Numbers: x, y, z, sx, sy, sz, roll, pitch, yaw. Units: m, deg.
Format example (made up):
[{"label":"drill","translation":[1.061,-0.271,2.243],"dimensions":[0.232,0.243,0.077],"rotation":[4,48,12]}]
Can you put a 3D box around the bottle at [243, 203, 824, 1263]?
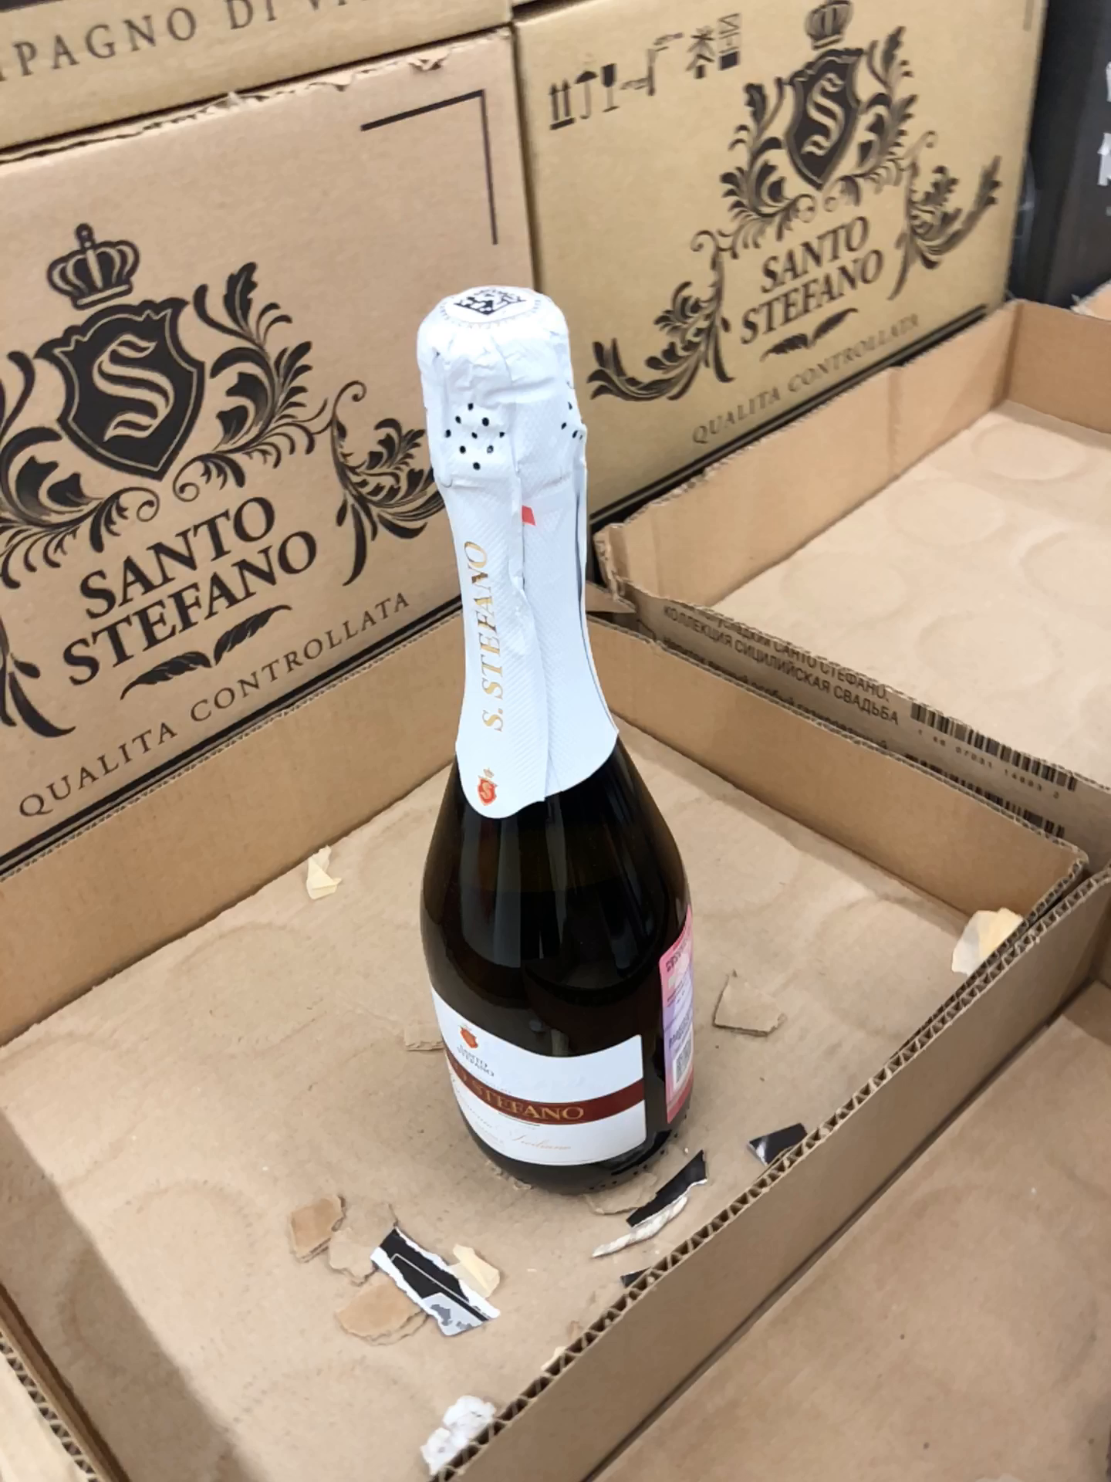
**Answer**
[{"label":"bottle","translation":[0.008,0.020,0.367],"dimensions":[0.090,0.308,0.090],"rotation":[-4,40,3]}]
